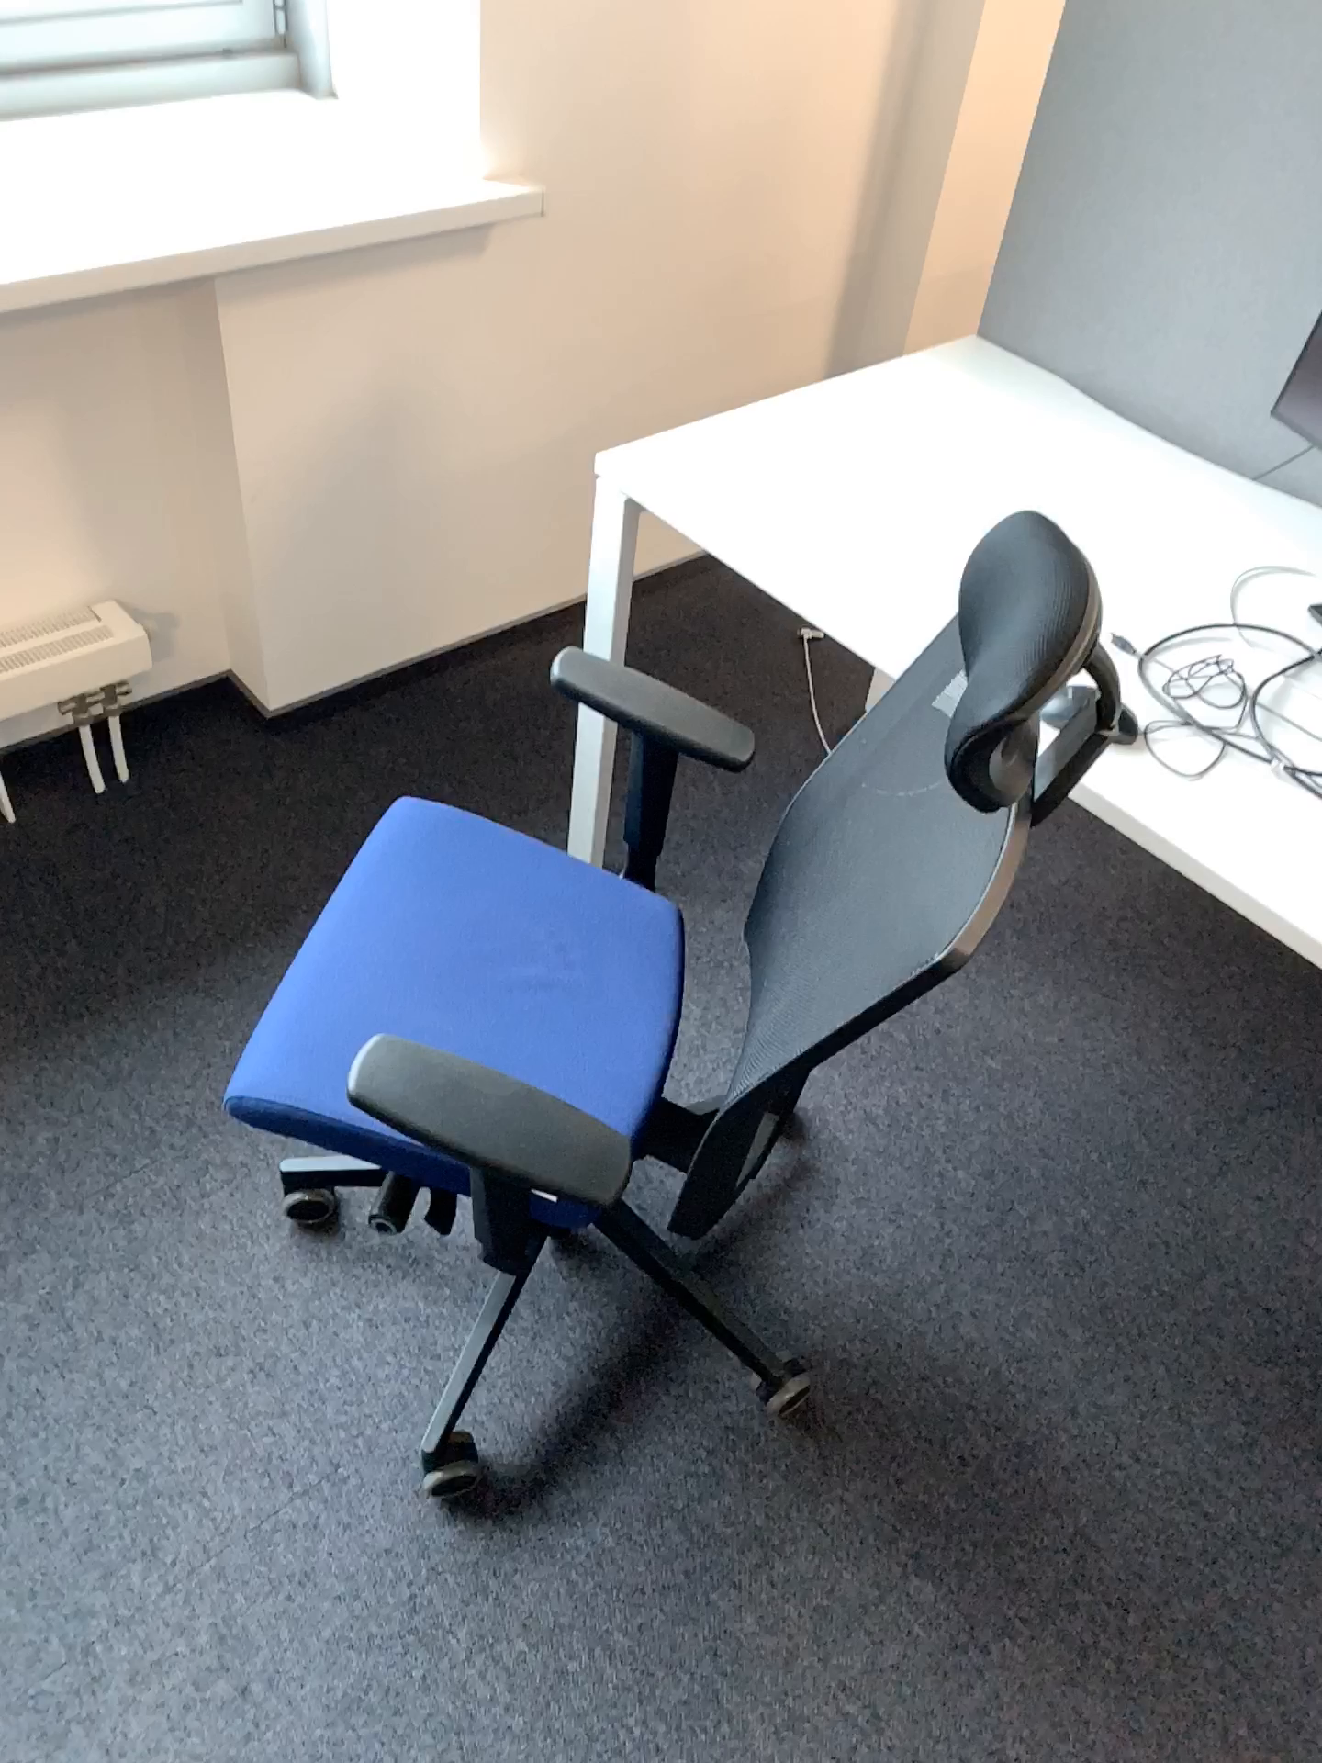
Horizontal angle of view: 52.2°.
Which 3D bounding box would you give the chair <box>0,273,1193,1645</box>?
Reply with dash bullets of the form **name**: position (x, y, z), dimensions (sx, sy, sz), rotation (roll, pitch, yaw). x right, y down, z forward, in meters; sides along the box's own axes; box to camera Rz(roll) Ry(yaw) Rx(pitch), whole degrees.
- **chair**: position (-0.040, 0.104, 1.448), dimensions (0.790, 1.074, 0.754), rotation (17, 44, 9)
